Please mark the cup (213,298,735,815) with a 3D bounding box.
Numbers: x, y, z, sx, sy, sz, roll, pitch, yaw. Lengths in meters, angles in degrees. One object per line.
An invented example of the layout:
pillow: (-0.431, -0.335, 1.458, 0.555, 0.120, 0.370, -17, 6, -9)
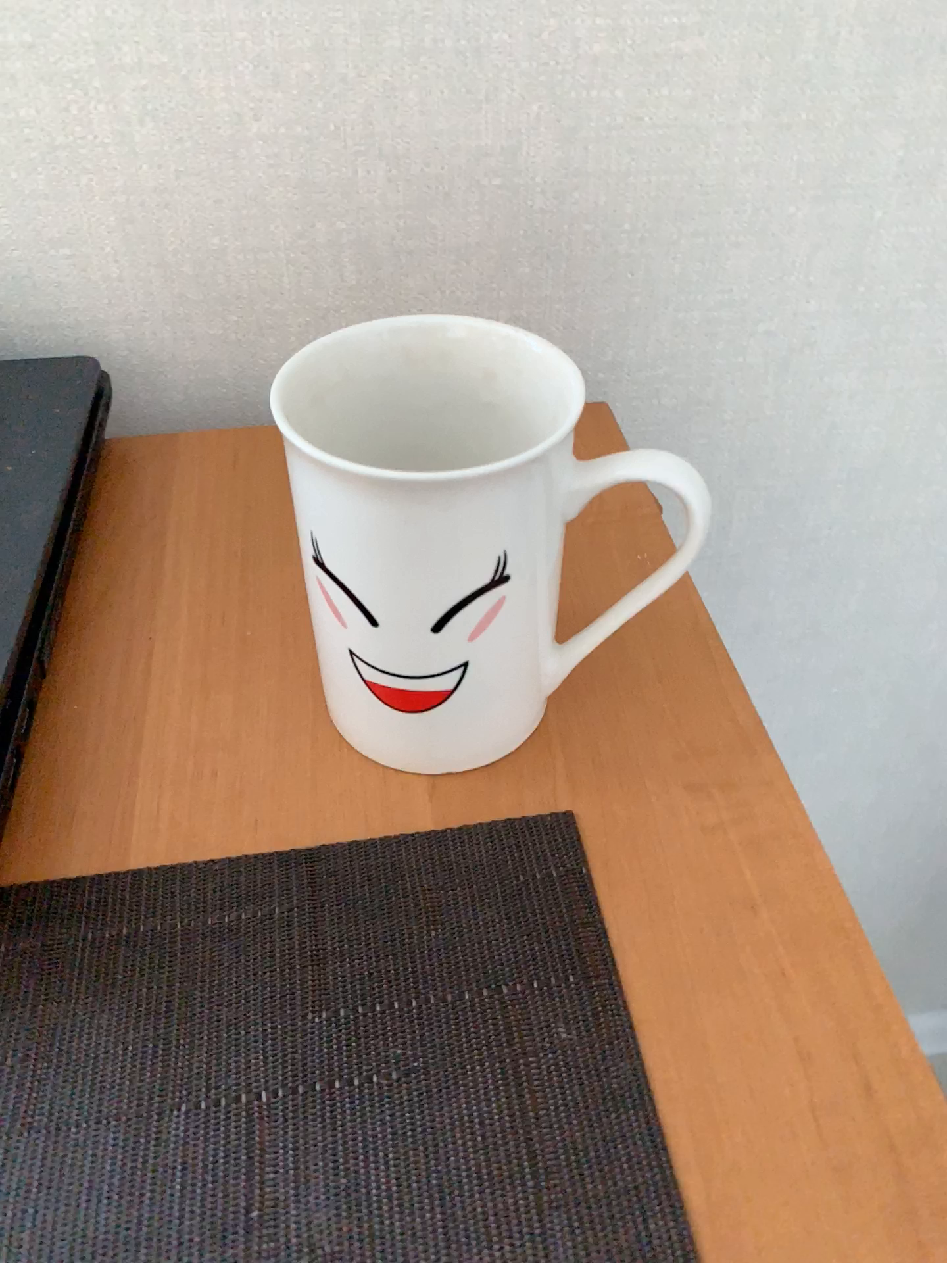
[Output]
cup: (0.005, -0.021, 0.257, 0.107, 0.095, 0.080, 7, 41, 8)
